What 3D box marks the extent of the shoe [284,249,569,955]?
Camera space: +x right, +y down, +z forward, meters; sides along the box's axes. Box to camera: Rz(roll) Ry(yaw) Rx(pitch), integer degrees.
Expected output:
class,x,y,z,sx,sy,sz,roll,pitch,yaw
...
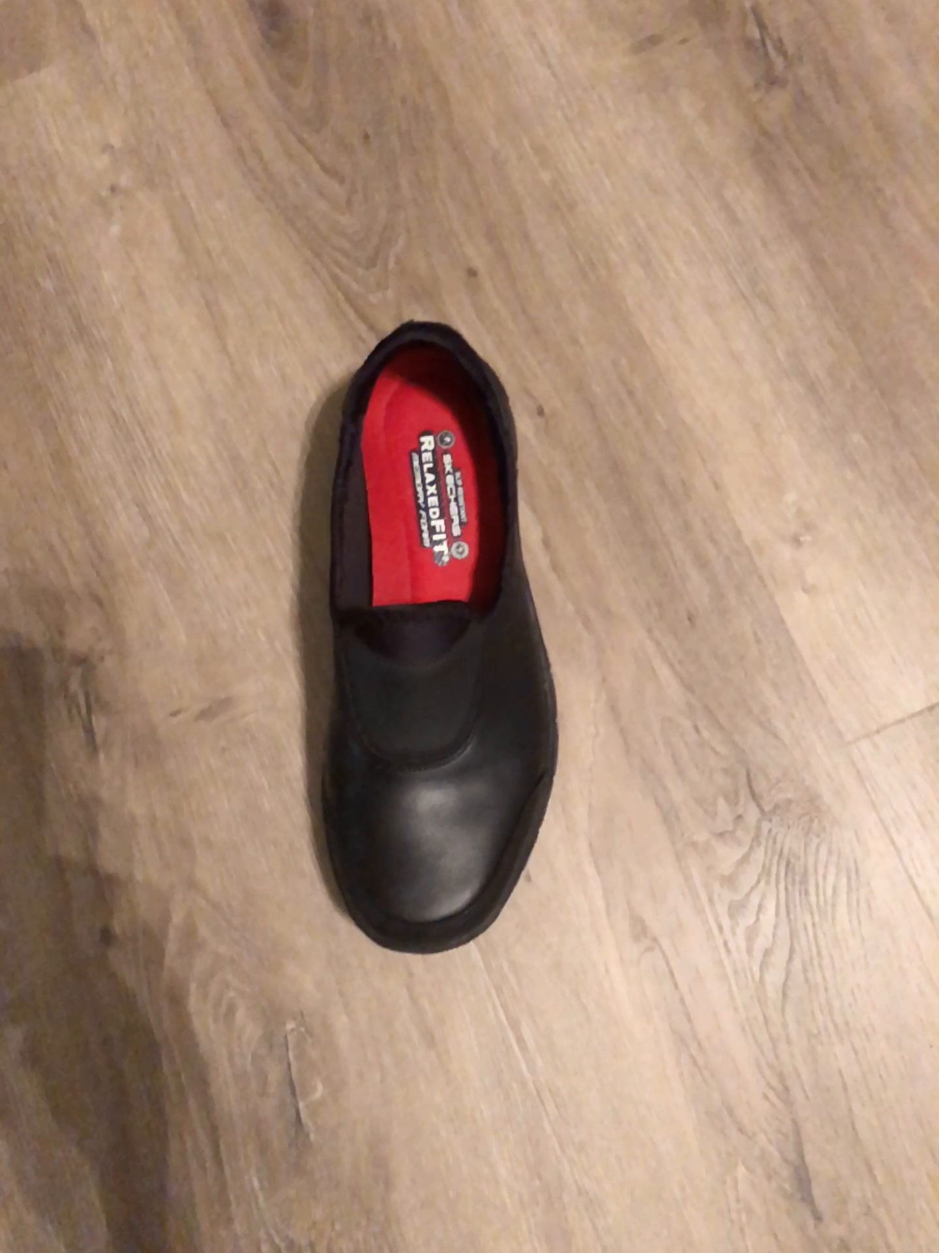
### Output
class,x,y,z,sx,sy,sz,roll,pitch,yaw
shoe,-0.016,-0.007,0.394,0.090,0.090,0.240,-2,80,0
